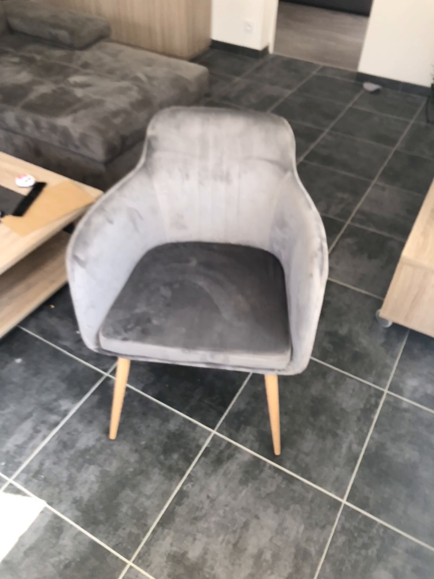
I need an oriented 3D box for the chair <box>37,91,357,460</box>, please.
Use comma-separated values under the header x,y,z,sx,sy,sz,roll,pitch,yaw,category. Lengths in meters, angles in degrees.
x,y,z,sx,sy,sz,roll,pitch,yaw,category
-0.019,-0.018,1.370,0.590,0.825,0.584,6,44,4,chair
